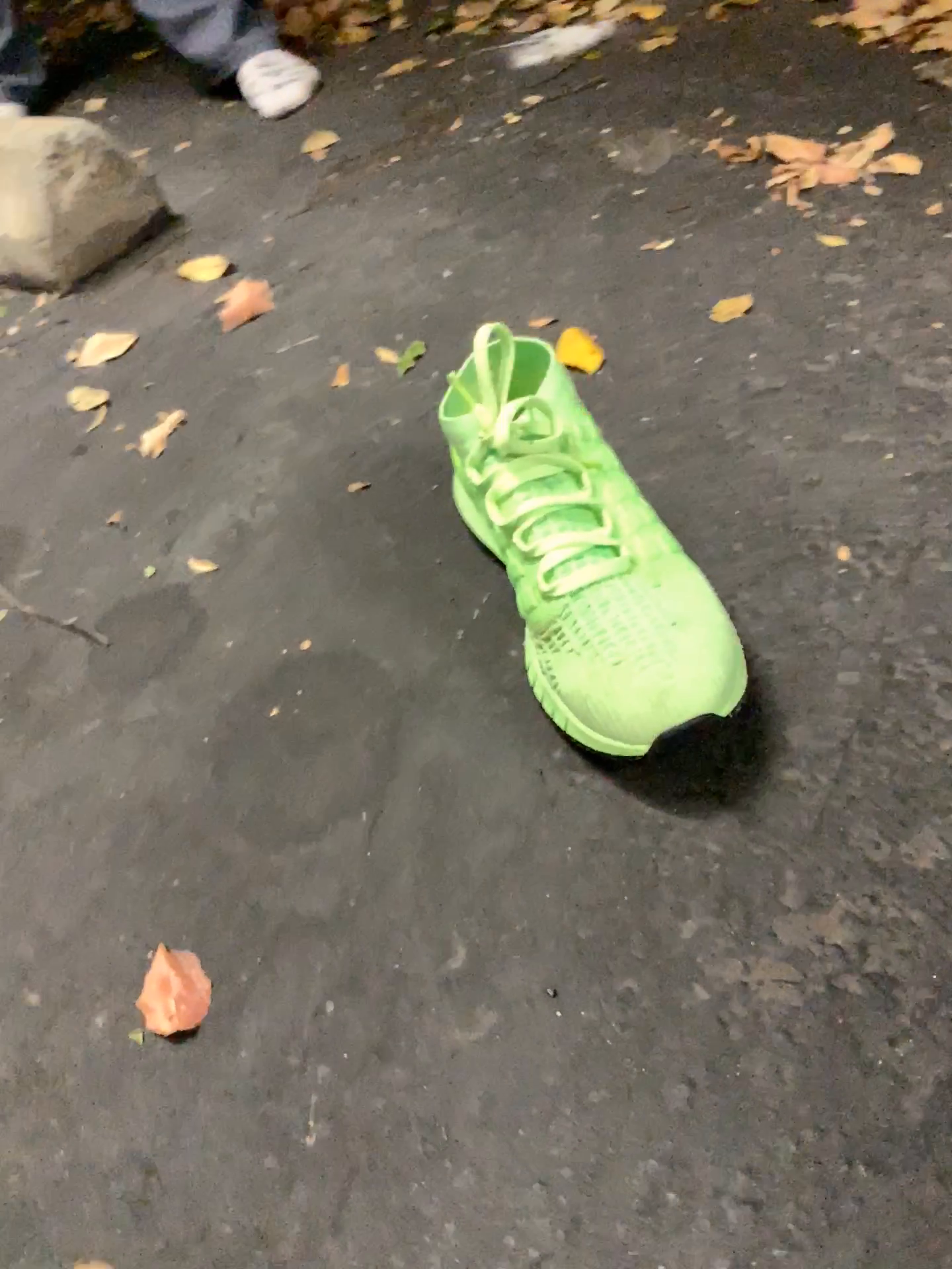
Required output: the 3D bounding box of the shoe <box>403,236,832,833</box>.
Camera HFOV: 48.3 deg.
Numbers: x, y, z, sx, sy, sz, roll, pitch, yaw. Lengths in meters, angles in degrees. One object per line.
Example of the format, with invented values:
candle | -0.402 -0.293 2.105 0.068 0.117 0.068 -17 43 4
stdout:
shoe | 0.059 -0.076 0.588 0.130 0.150 0.320 -13 42 -3
